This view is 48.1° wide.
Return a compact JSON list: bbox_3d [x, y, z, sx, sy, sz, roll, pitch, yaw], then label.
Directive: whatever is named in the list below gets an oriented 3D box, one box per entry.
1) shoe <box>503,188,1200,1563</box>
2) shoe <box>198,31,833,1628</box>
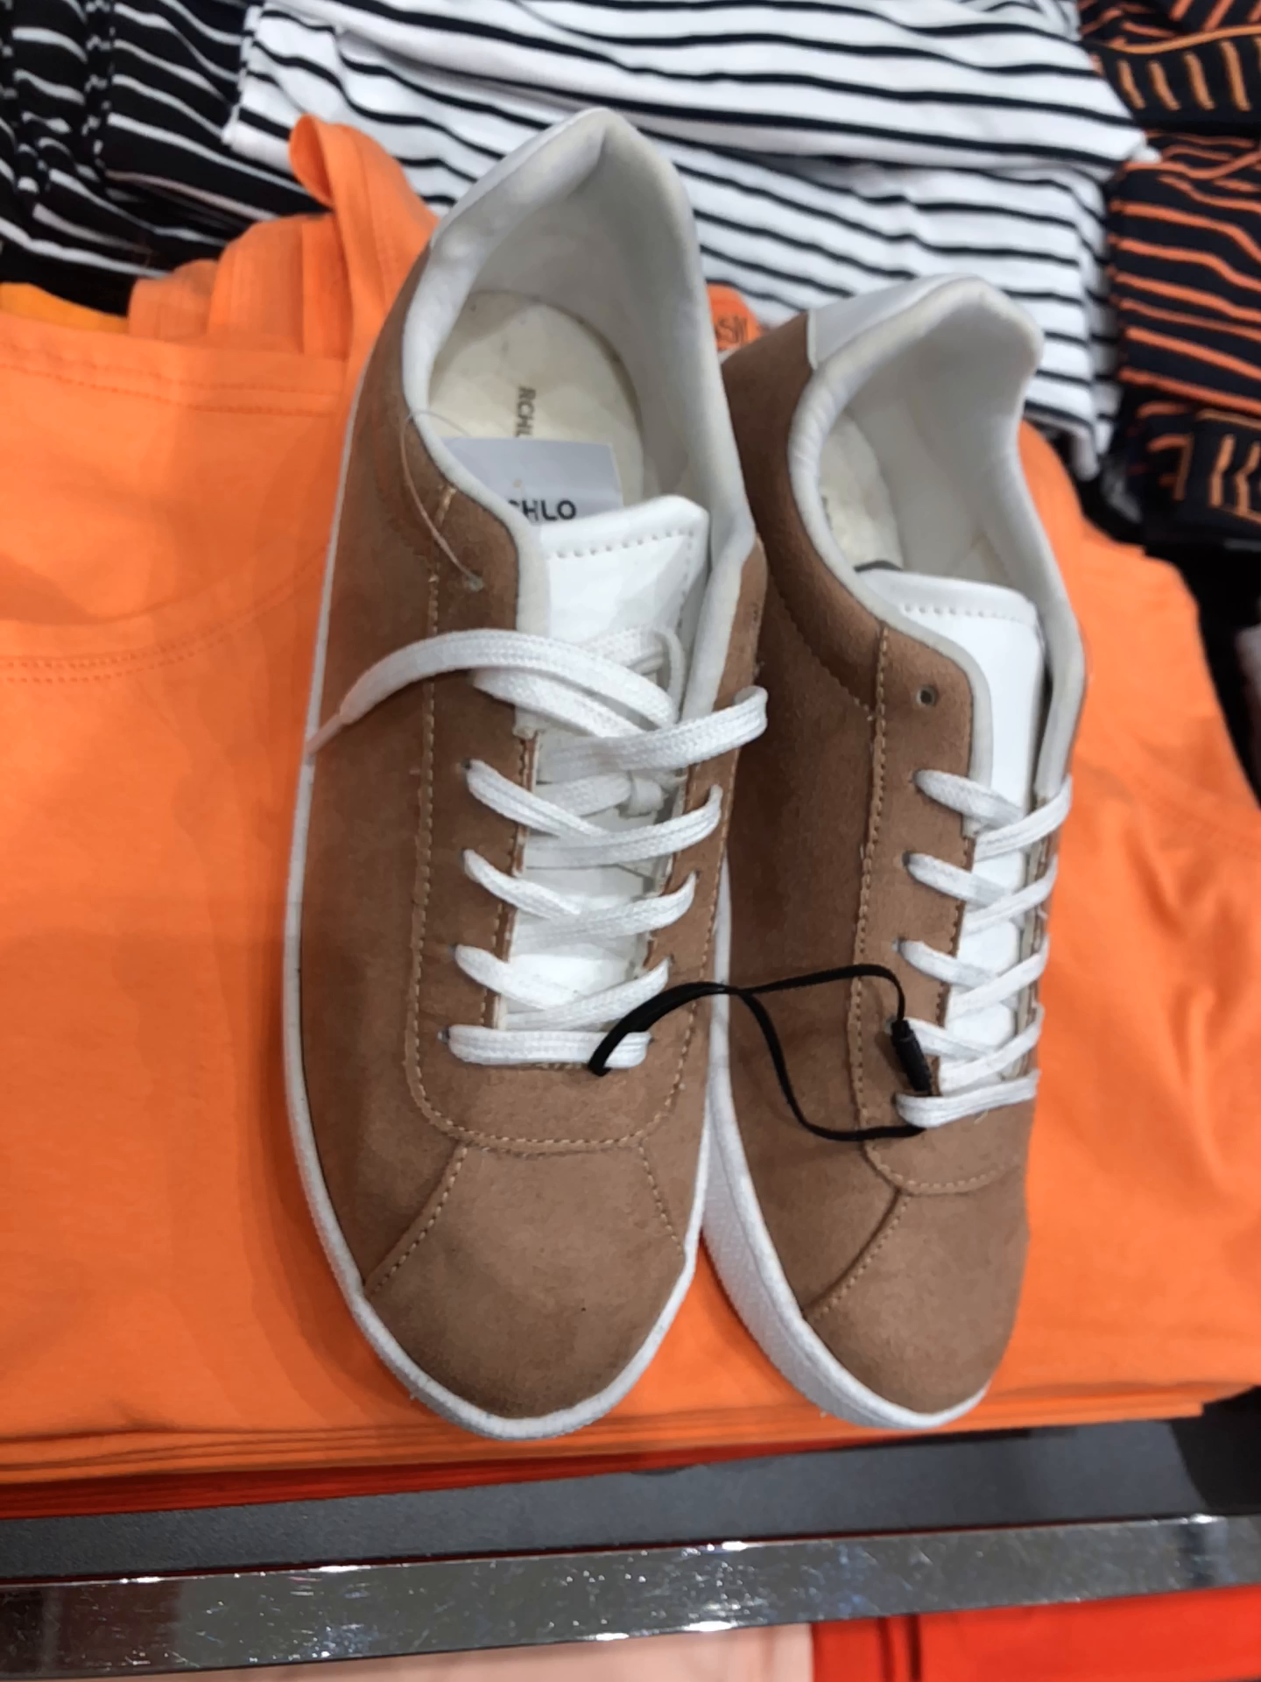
[{"bbox_3d":[0.038,0.004,0.317,0.090,0.100,0.250,-1,81,-23],"label":"shoe"},{"bbox_3d":[-0.031,-0.004,0.280,0.090,0.100,0.250,2,79,-22],"label":"shoe"}]
